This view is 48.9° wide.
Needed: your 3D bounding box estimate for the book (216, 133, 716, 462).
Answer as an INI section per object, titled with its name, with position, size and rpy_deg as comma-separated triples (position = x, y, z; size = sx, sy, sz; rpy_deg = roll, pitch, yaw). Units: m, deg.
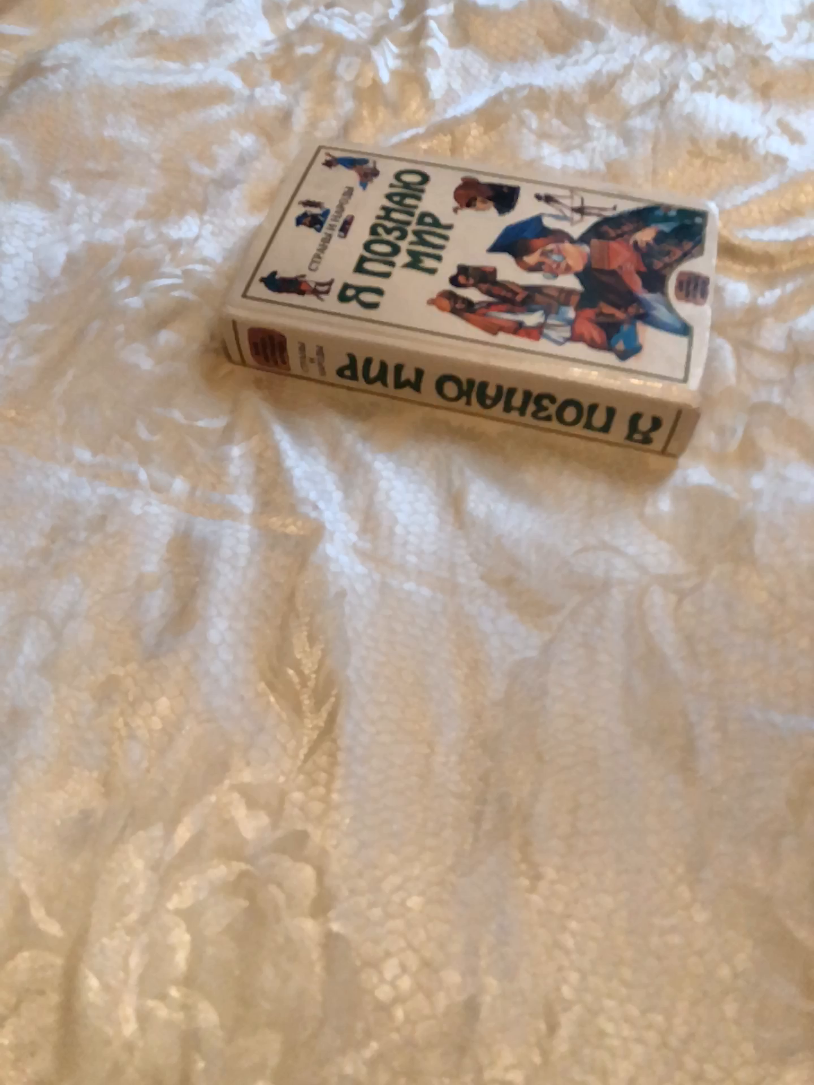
[book]
position = 0.032, -0.119, 0.410
size = 0.197, 0.037, 0.134
rpy_deg = 12, 57, 8
